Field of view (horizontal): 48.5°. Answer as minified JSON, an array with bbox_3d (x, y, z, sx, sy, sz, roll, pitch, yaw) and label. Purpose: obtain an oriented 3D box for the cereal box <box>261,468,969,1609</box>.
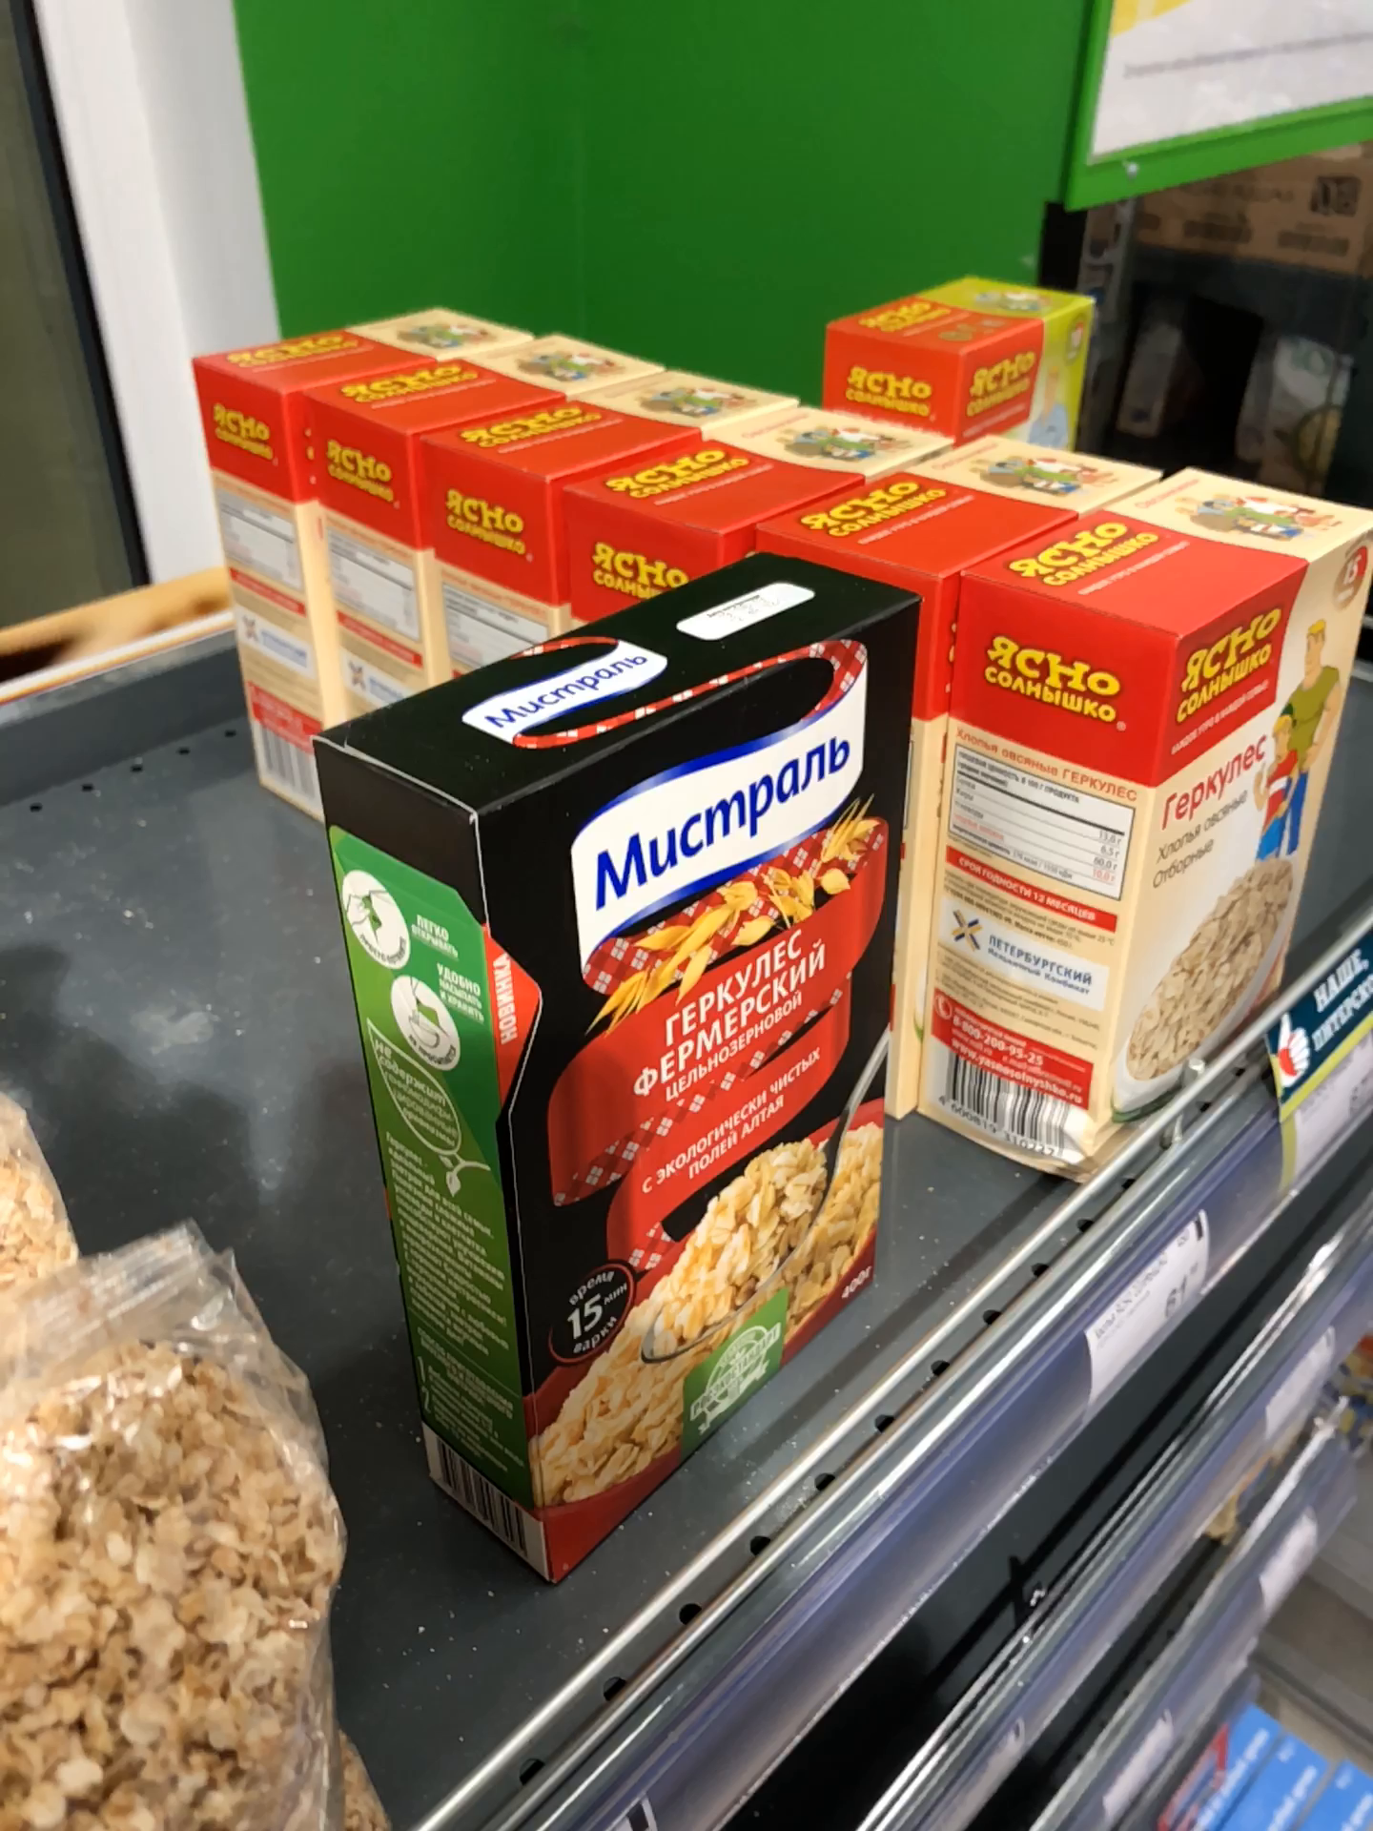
[{"bbox_3d":[-0.007,0.029,0.346,0.050,0.219,0.140,26,41,33],"label":"cereal box"}]
